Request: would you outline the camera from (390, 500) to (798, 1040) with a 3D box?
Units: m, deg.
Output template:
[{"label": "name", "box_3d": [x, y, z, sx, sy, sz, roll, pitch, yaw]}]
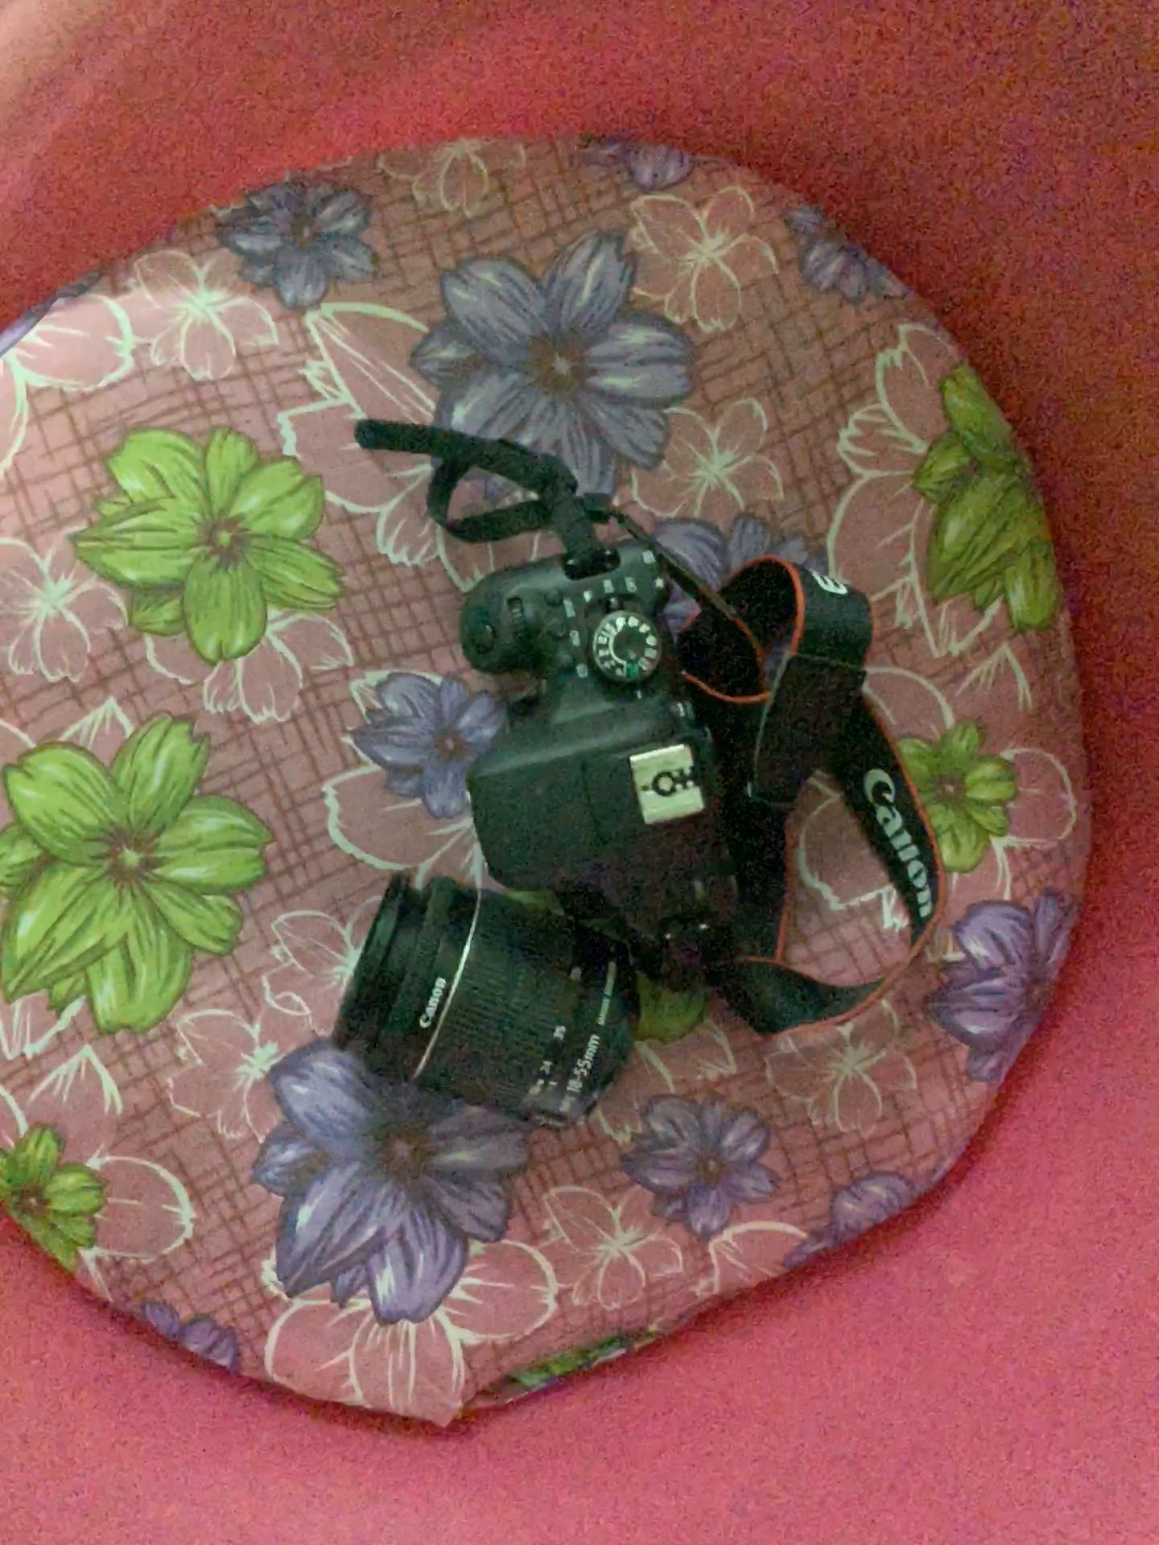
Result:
[{"label": "camera", "box_3d": [0.004, 0.000, 0.392, 0.086, 0.079, 0.143, -16, 89, -1]}]
